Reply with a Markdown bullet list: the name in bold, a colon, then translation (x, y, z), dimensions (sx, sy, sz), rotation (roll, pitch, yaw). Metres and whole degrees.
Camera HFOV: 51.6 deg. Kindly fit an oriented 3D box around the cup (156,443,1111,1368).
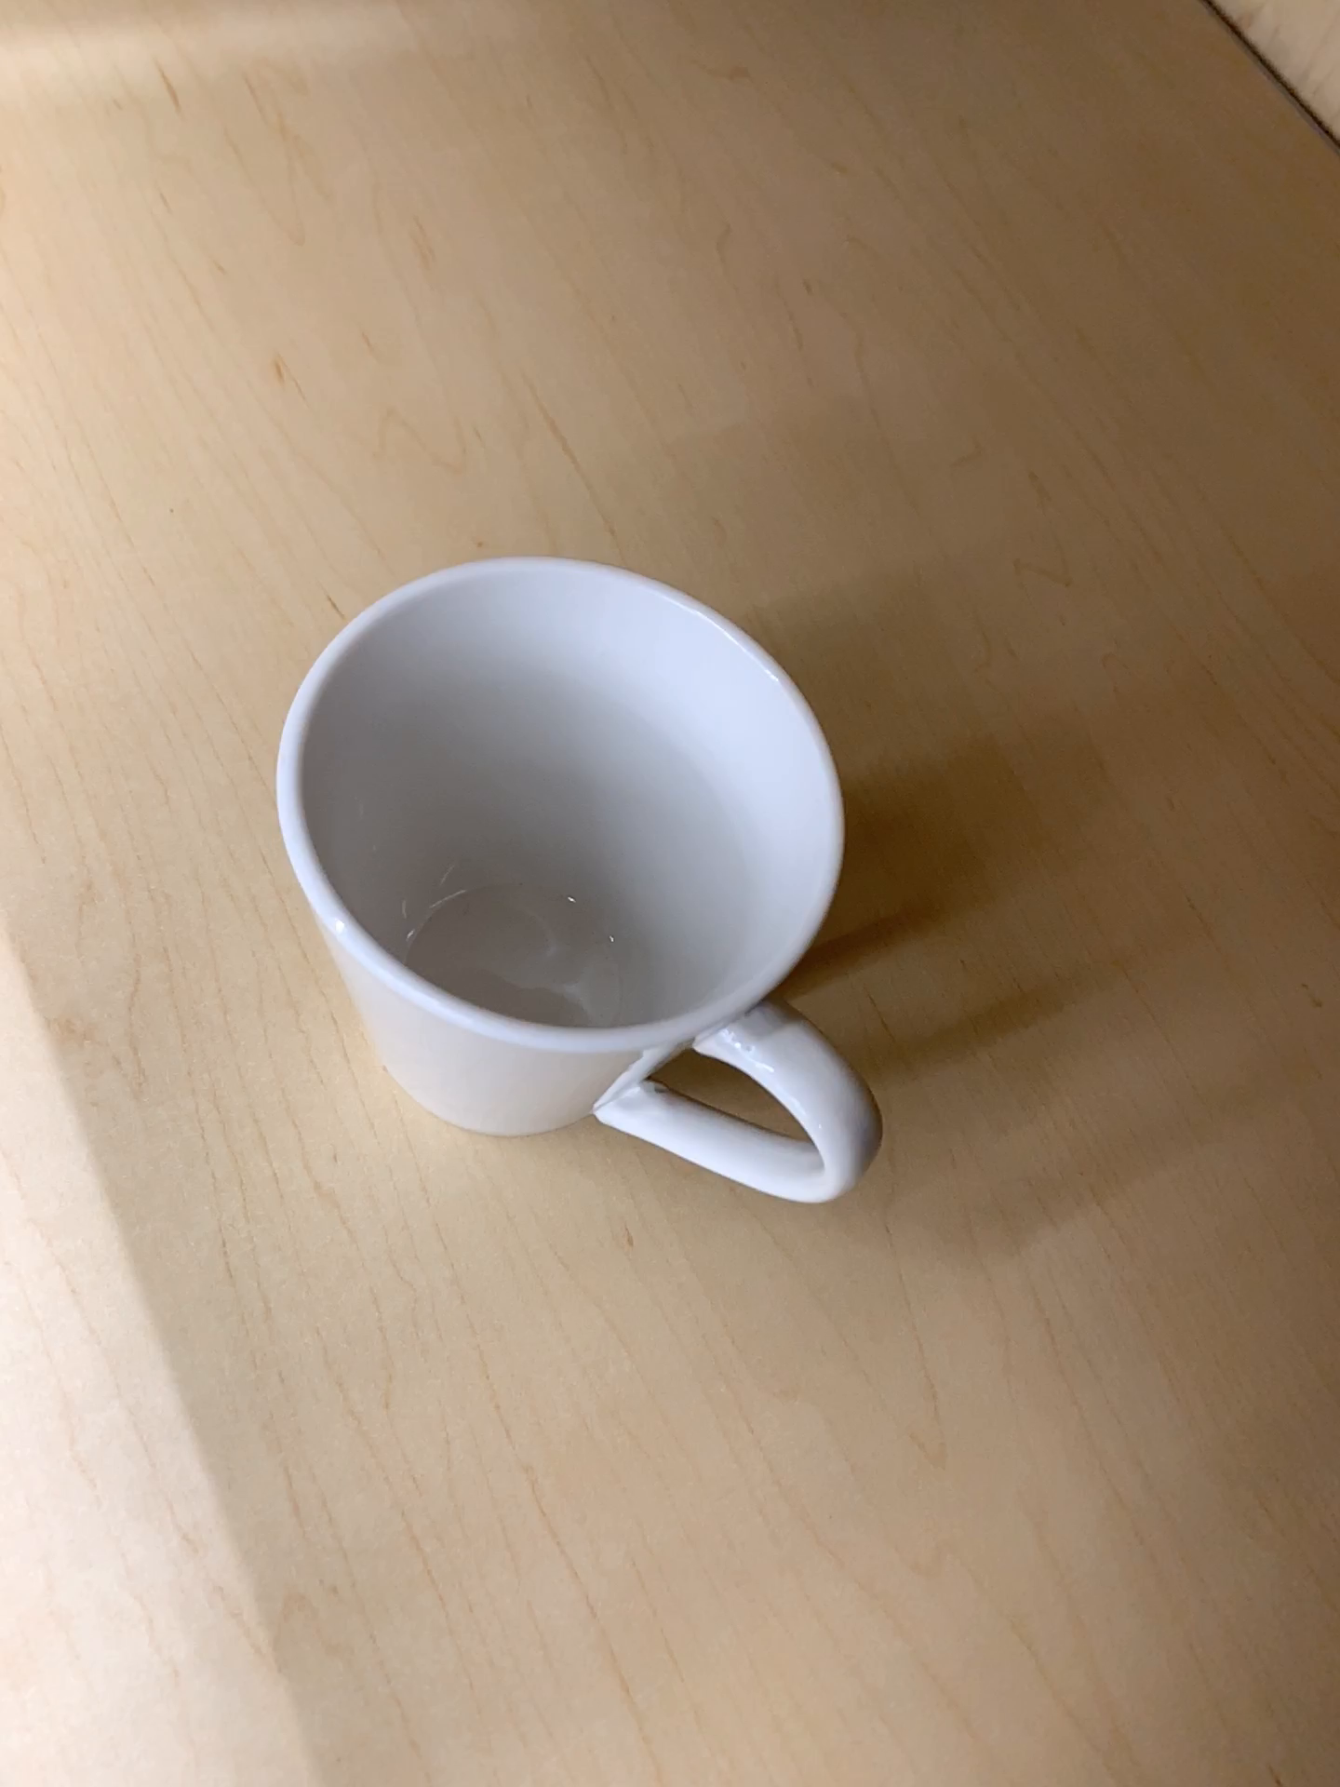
- **cup**: translation (-0.010, 0.006, 0.268), dimensions (0.128, 0.090, 0.094), rotation (39, 65, 8)
